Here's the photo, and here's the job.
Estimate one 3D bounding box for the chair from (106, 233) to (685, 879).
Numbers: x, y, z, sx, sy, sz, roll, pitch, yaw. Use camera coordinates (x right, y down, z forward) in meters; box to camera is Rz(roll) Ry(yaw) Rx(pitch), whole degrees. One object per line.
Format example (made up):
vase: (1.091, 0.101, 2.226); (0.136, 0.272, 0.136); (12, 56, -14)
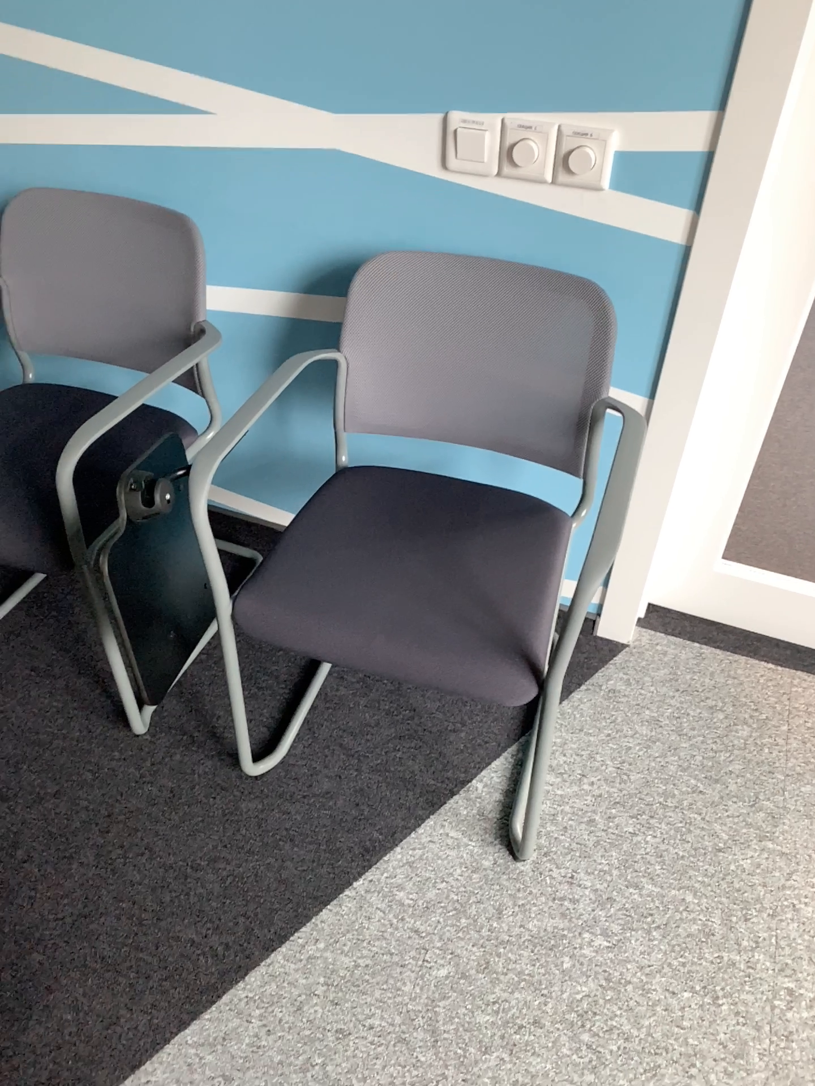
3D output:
chair: (0.037, -0.011, 1.290); (0.570, 0.627, 0.643); (13, 44, 13)
